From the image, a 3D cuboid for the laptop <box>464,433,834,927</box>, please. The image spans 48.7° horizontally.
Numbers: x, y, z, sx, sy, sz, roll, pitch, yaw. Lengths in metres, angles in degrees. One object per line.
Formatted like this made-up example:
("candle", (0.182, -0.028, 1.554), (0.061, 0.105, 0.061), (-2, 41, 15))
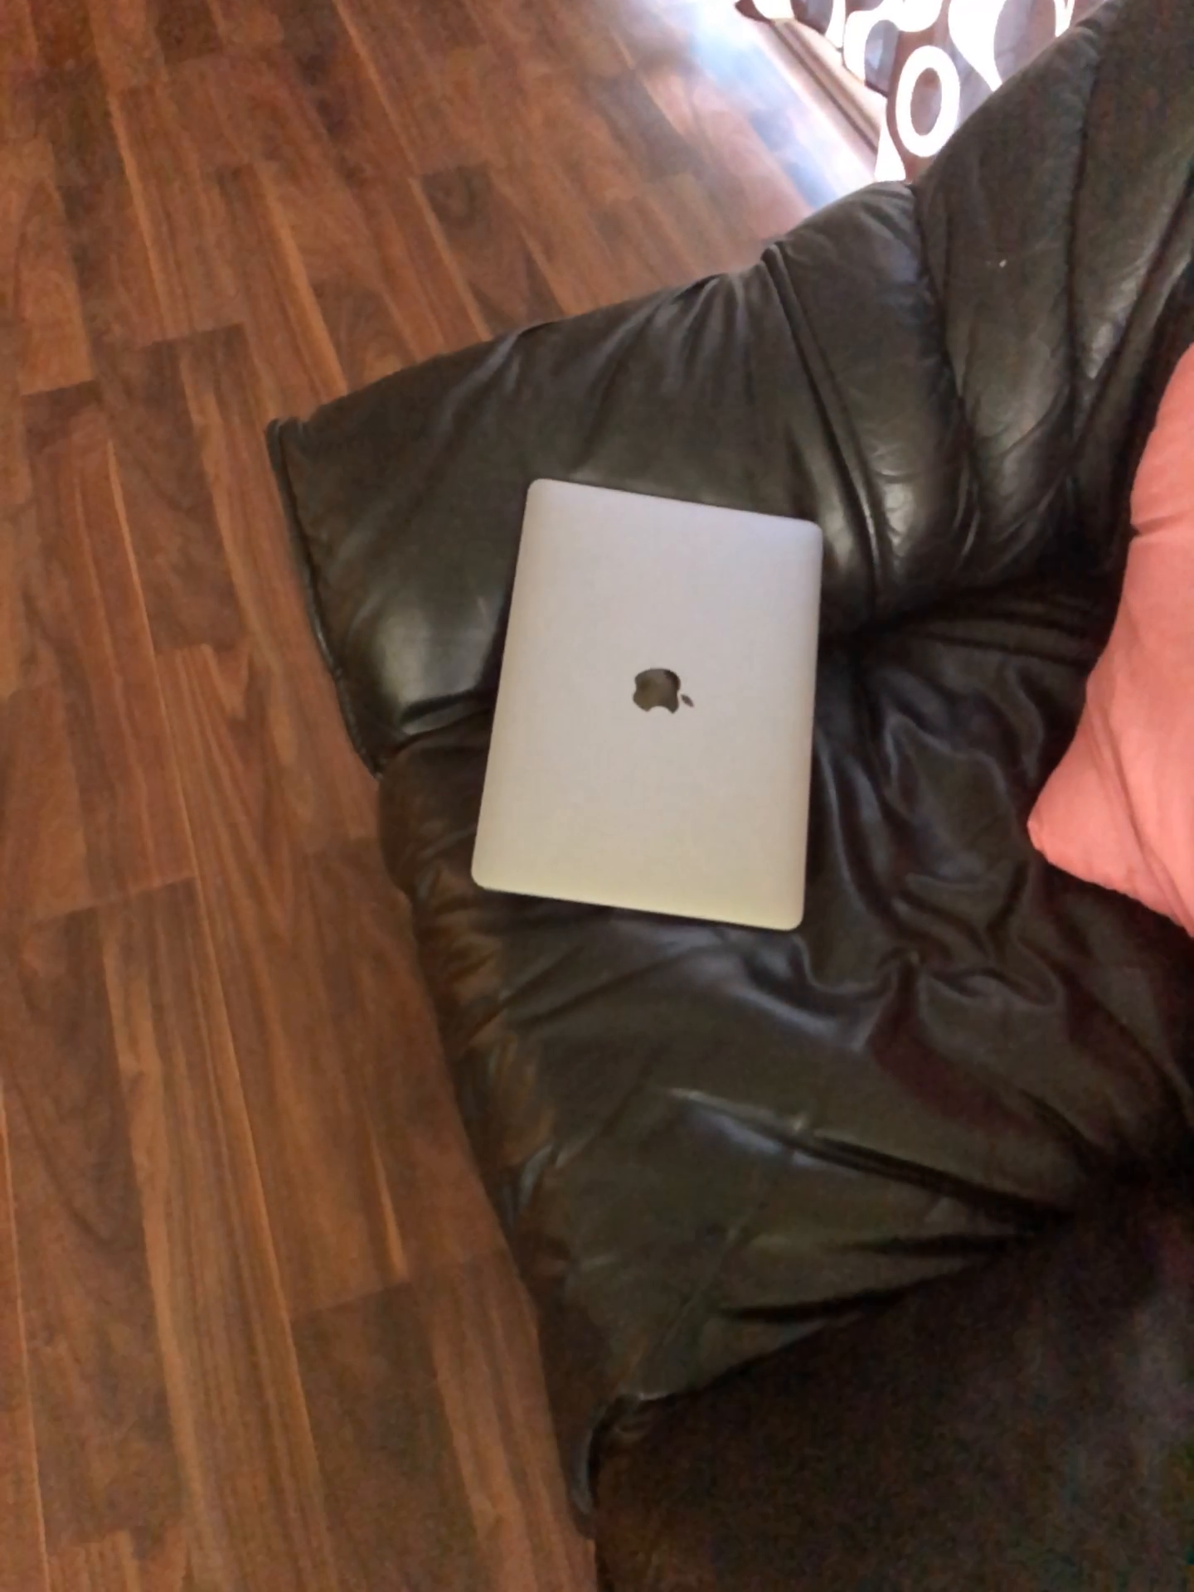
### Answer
("laptop", (0.038, -0.072, 0.762), (0.185, 0.036, 0.265), (9, 67, -5))
